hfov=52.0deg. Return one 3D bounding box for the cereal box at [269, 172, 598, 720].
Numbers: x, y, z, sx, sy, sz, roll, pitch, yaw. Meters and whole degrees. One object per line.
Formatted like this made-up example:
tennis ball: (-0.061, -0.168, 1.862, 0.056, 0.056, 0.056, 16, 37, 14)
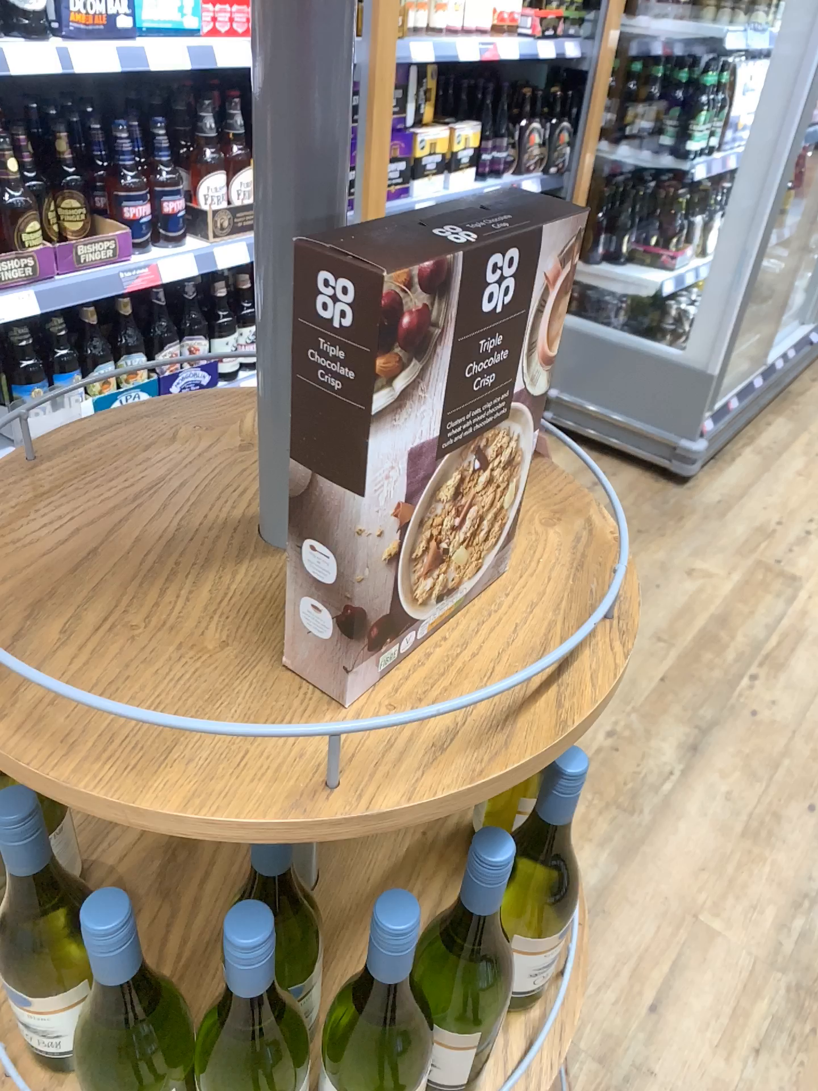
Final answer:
cereal box: (0.010, -0.057, 0.460, 0.050, 0.248, 0.191, 27, 40, 26)
